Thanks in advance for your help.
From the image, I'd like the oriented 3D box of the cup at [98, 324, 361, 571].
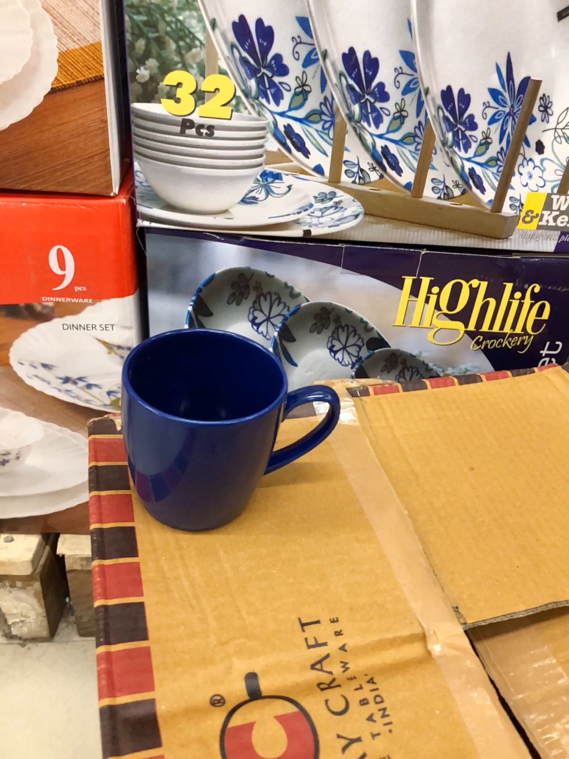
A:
[{"bbox_3d":[-0.029,0.028,0.289,0.100,0.079,0.070,-2,36,-12],"label":"cup"}]
